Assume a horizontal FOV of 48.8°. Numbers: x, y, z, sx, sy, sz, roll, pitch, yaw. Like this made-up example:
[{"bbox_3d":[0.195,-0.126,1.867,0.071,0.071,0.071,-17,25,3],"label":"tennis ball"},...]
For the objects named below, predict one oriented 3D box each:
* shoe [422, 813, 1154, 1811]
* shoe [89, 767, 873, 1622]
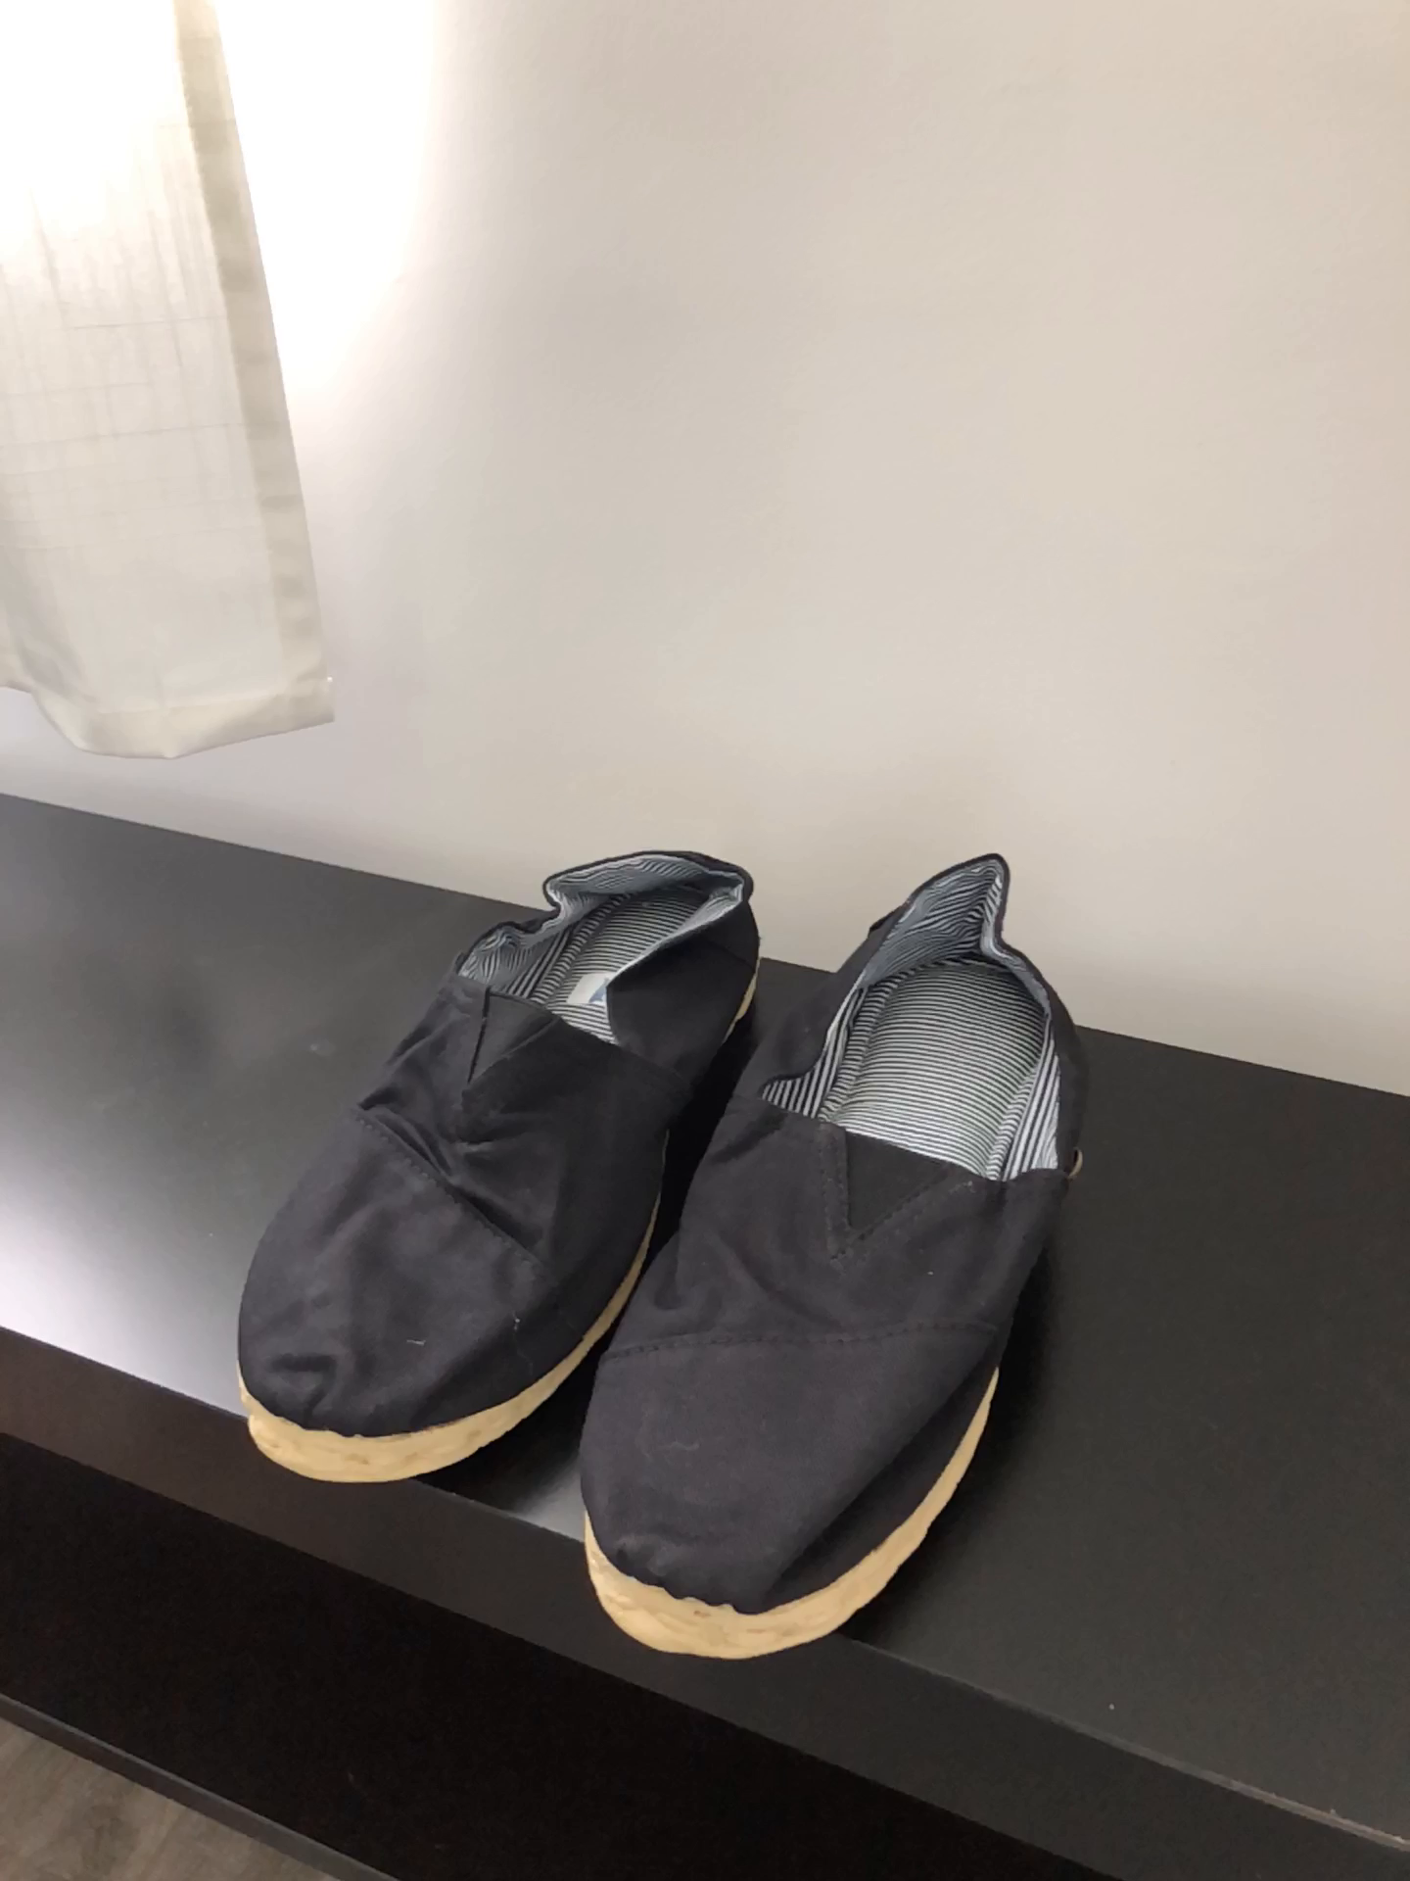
[{"bbox_3d":[0.043,0.069,0.425,0.101,0.080,0.274,12,35,20],"label":"shoe"},{"bbox_3d":[-0.042,0.048,0.469,0.101,0.080,0.274,12,35,20],"label":"shoe"}]
